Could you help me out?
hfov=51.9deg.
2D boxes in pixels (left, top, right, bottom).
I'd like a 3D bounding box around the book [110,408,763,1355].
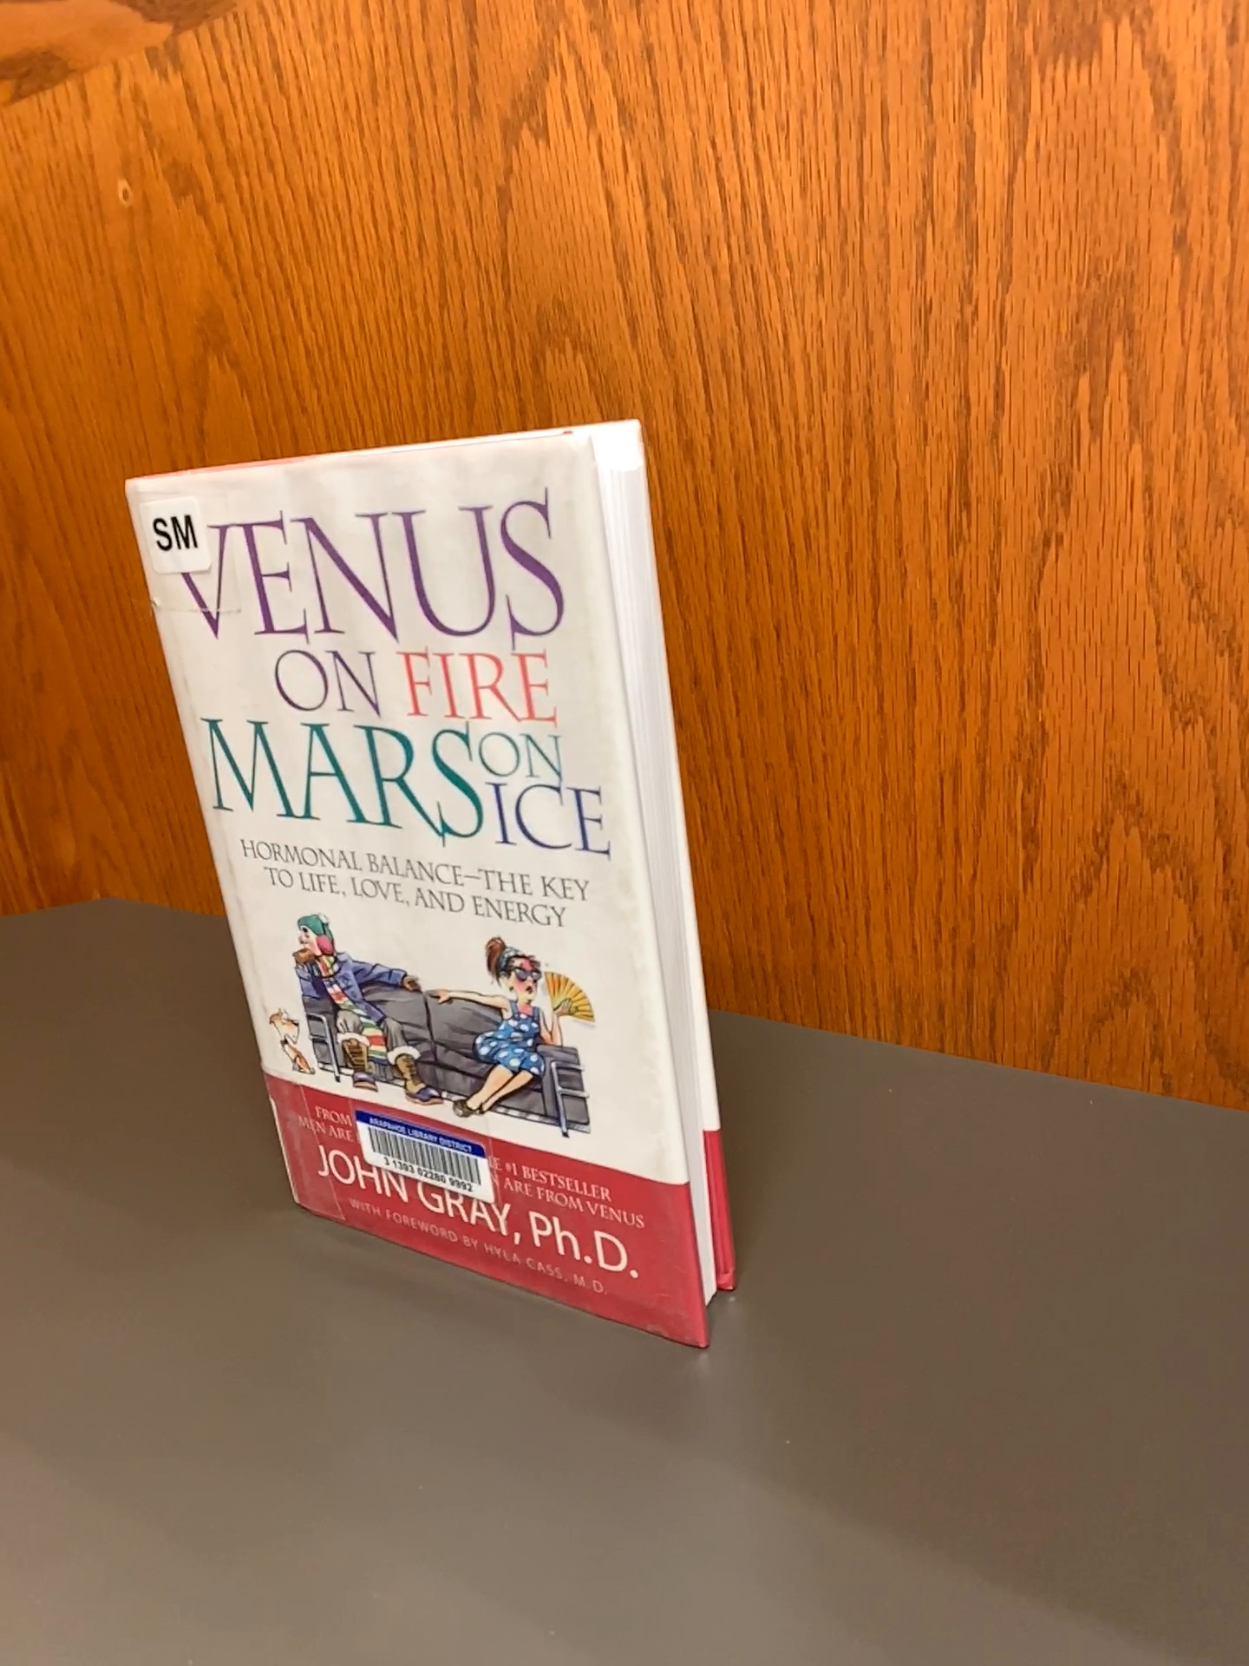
[{"bbox_3d":[-0.049,0.013,0.338,0.154,0.220,0.033,5,22,34],"label":"book"}]
